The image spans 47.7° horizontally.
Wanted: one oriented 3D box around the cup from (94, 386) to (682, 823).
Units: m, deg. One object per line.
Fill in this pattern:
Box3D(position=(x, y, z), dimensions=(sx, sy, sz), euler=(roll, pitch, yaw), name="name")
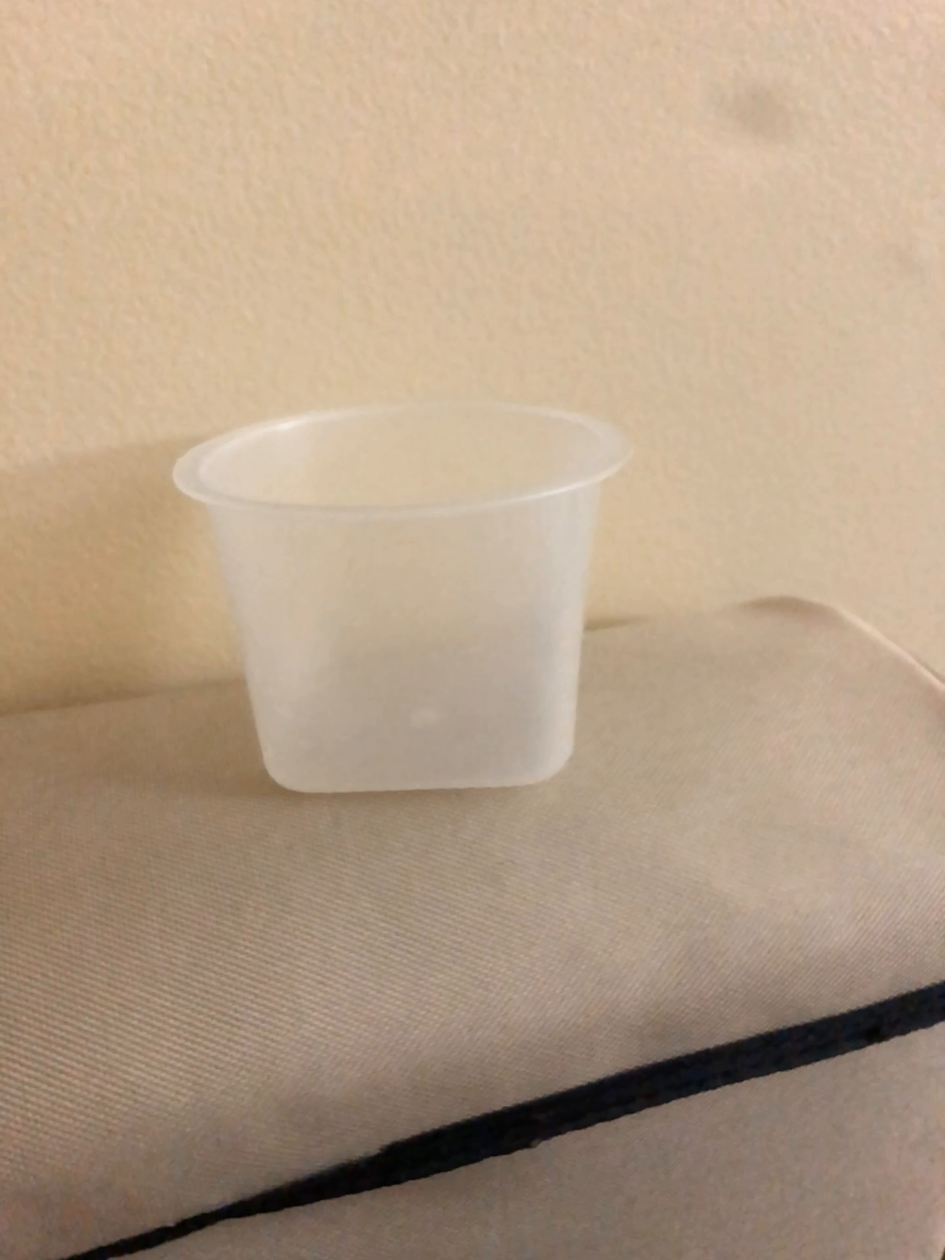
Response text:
Box3D(position=(-0.012, -0.010, 0.191), dimensions=(0.080, 0.046, 0.077), euler=(-1, 26, 1), name="cup")
